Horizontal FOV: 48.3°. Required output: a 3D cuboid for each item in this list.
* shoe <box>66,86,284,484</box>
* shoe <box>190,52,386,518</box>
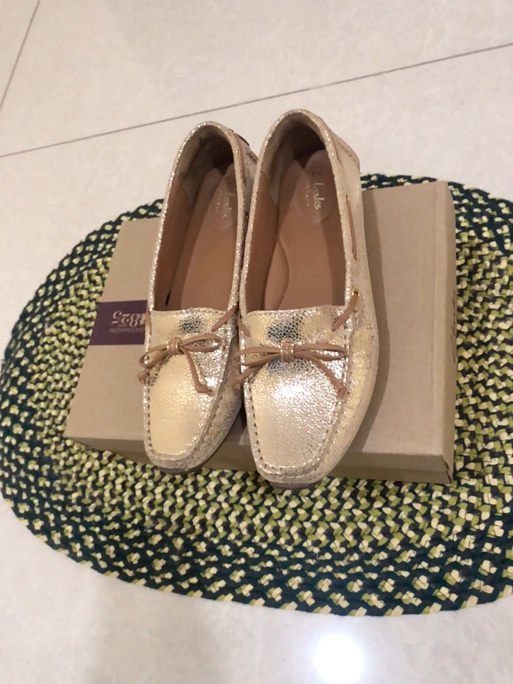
[{"bbox_3d":[-0.046,-0.049,0.408,0.090,0.060,0.280,-2,65,20],"label":"shoe"},{"bbox_3d":[0.033,-0.050,0.383,0.090,0.060,0.310,-2,65,20],"label":"shoe"}]
